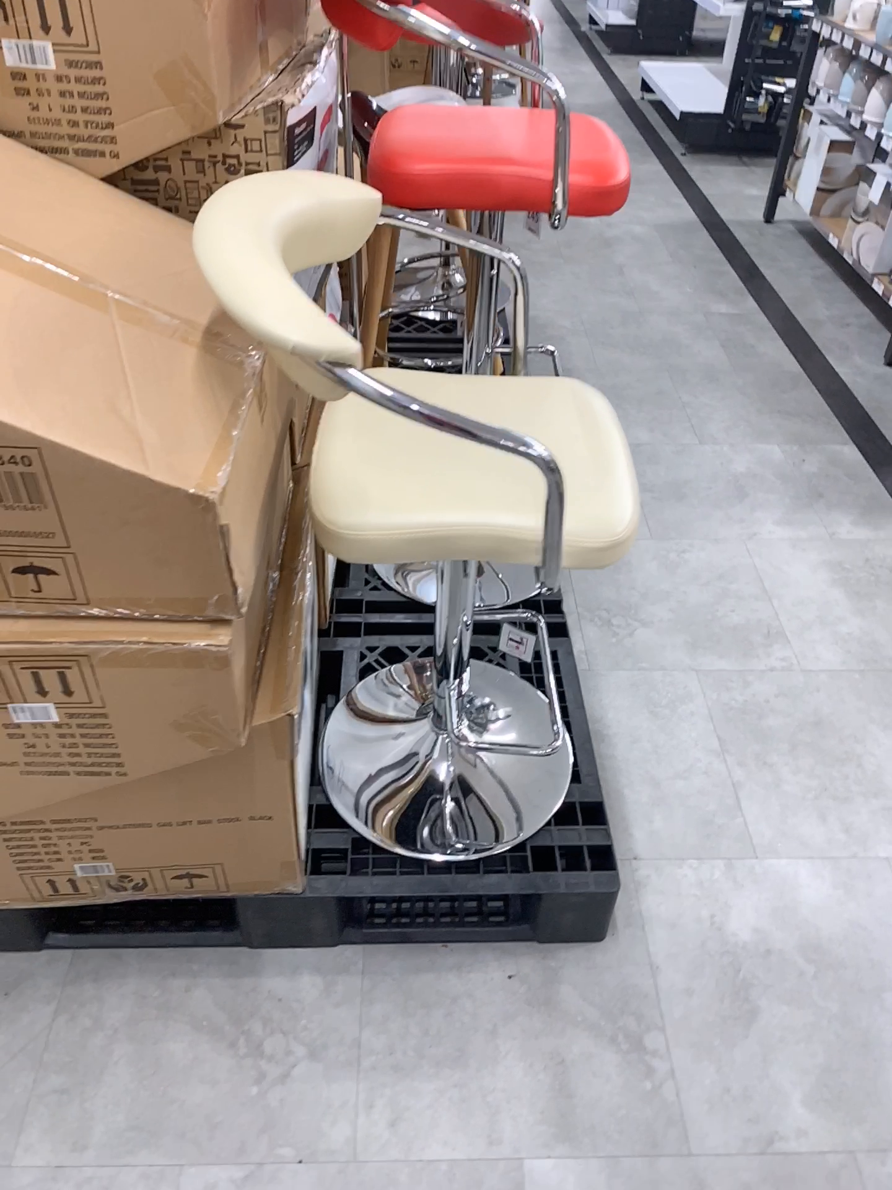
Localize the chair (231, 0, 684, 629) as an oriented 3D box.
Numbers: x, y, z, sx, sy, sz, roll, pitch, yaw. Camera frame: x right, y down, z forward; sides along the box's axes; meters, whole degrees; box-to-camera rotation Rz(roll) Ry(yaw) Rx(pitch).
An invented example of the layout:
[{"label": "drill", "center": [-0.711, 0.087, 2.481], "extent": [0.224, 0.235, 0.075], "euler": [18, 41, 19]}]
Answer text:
[{"label": "chair", "center": [-0.005, -0.494, 1.562], "extent": [0.519, 1.058, 0.479], "euler": [0, 40, -2]}]

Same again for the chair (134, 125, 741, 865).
[{"label": "chair", "center": [-0.021, -0.092, 1.195], "extent": [0.499, 0.841, 0.469], "euler": [0, 40, -2]}]
